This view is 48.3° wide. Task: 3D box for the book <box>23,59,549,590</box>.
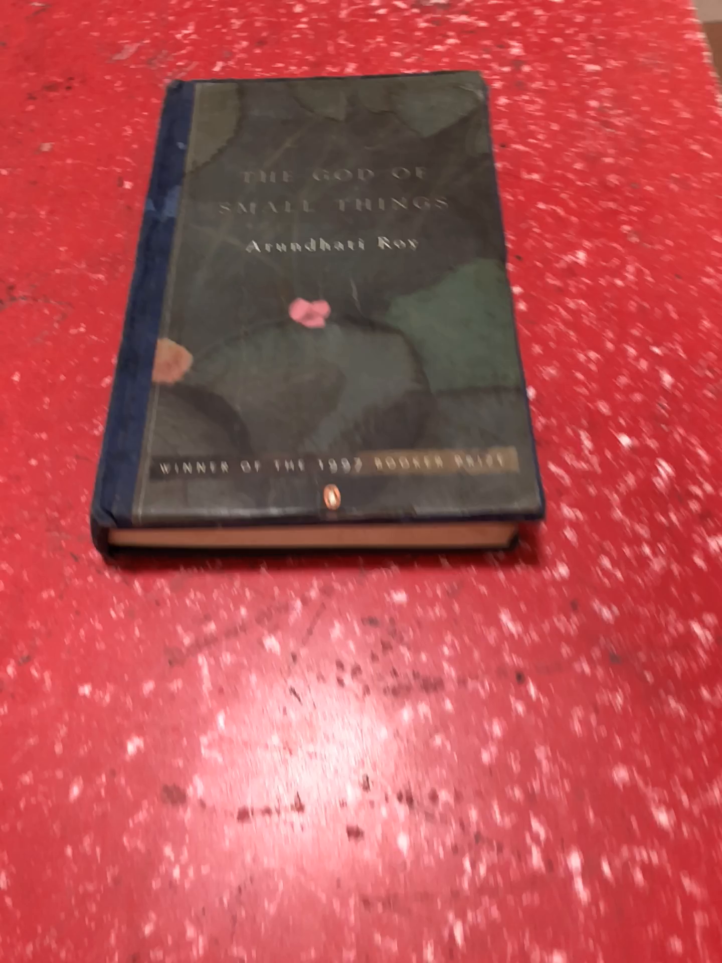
[{"bbox_3d":[-0.022,-0.071,0.303,0.150,0.040,0.220,-2,59,2],"label":"book"}]
